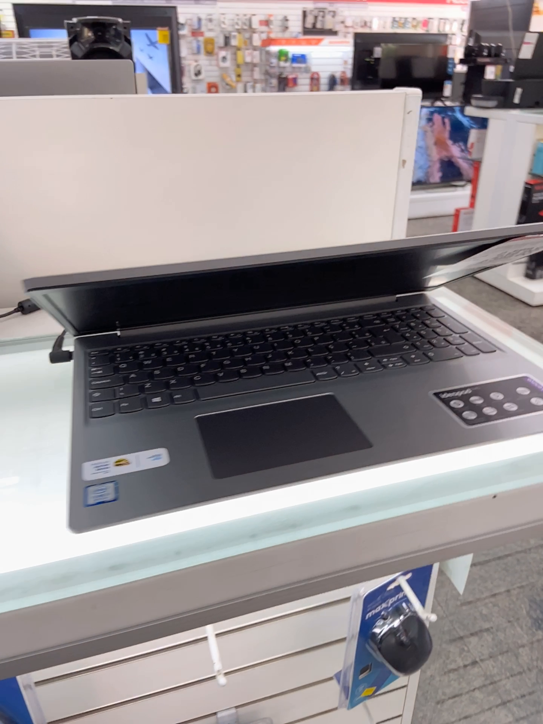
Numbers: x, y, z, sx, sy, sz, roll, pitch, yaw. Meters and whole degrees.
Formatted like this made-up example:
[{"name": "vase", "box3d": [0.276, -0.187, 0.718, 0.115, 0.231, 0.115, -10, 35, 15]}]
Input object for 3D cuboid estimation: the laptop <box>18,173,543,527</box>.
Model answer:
[{"name": "laptop", "box3d": [0.026, -0.046, 0.416, 0.354, 0.122, 0.240, -9, 29, -14]}]
